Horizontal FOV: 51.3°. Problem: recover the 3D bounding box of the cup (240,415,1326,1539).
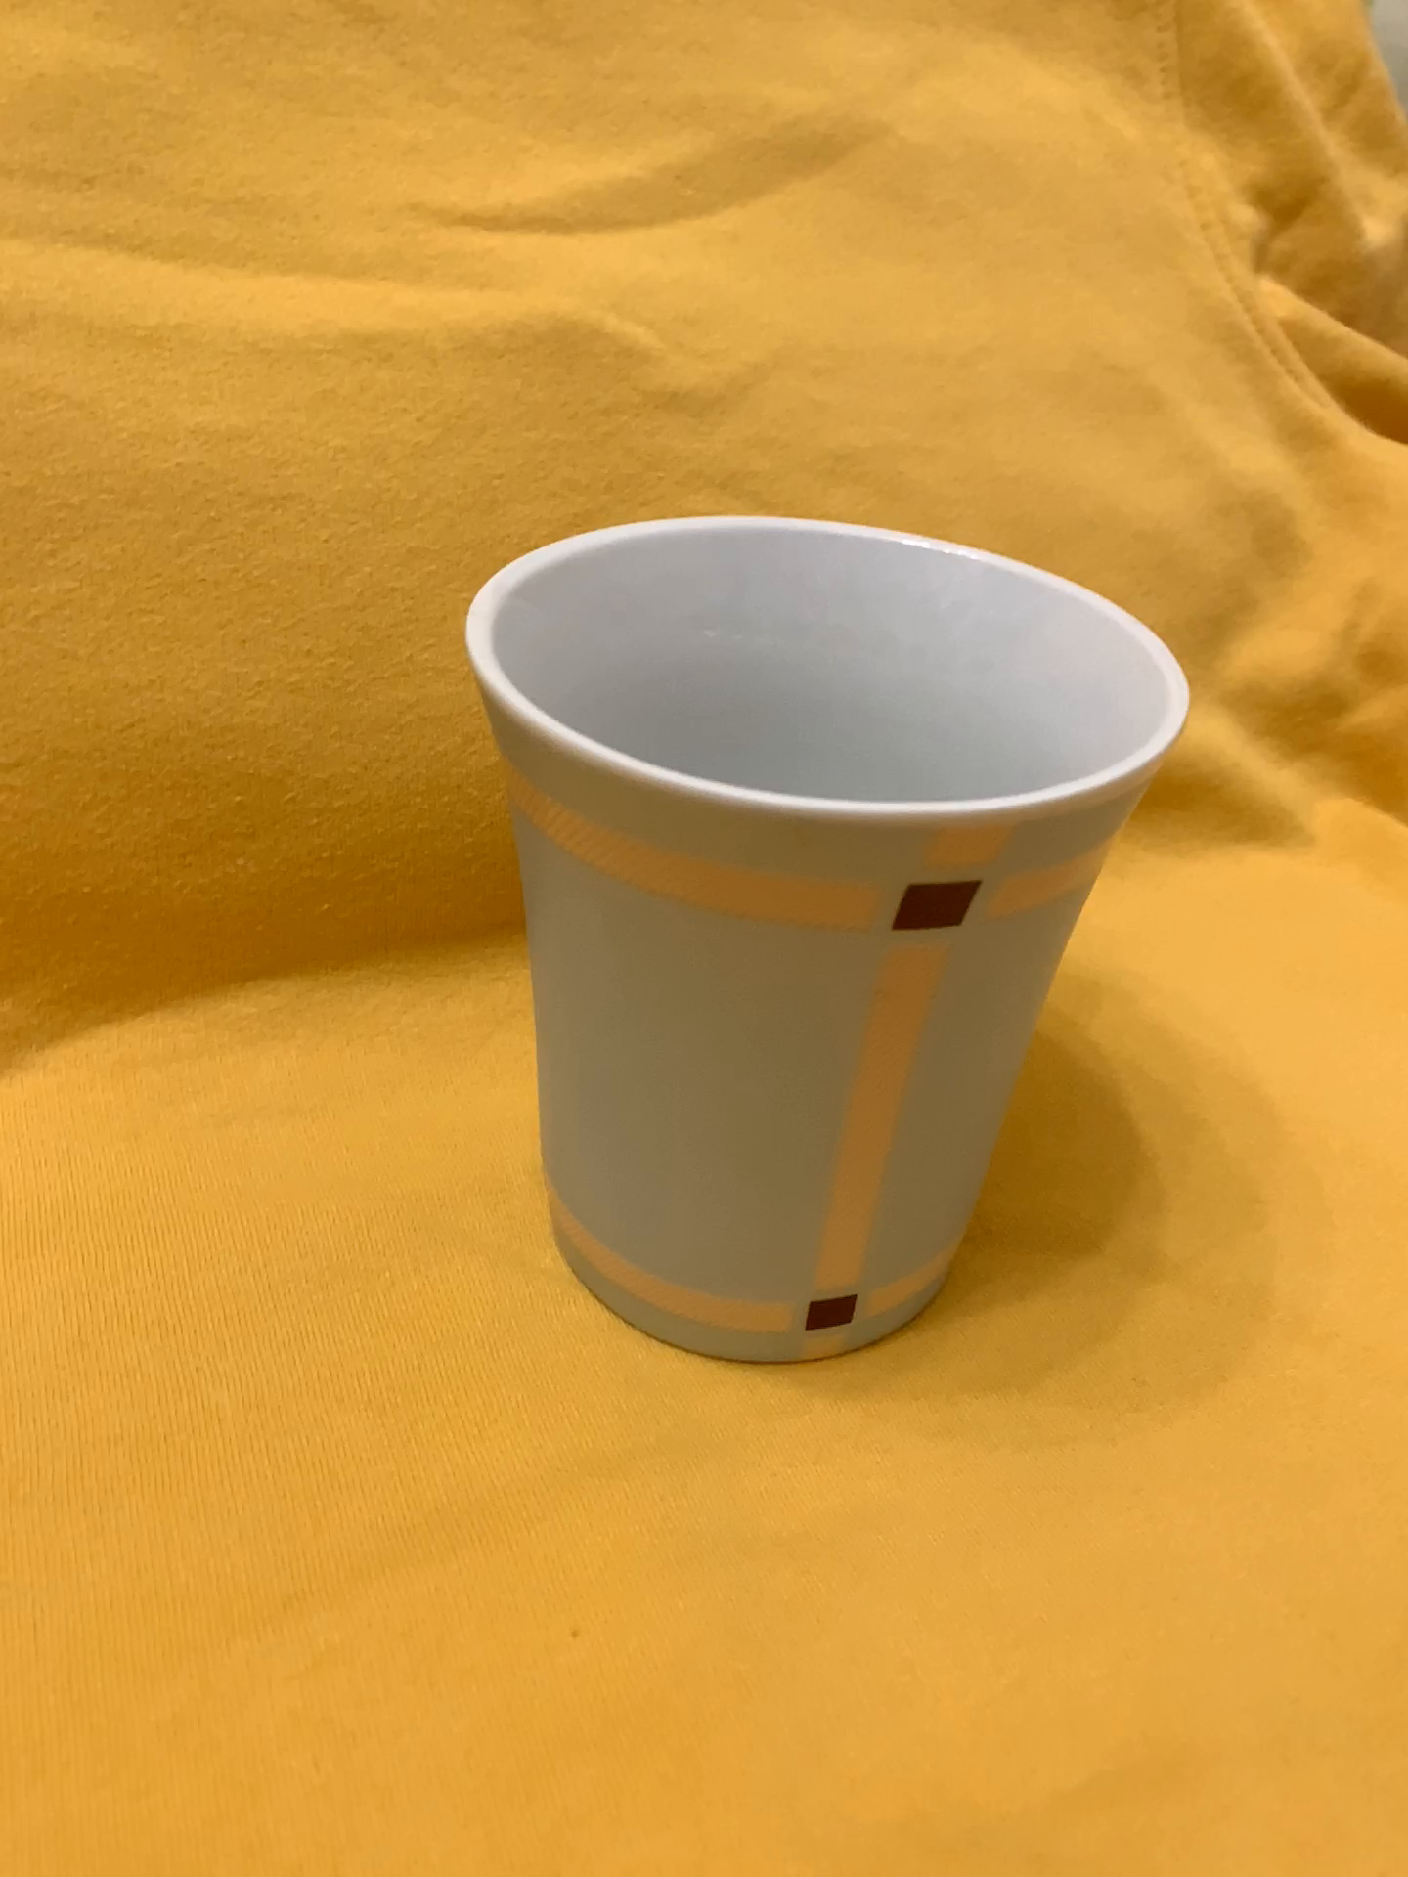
[{"bbox_3d":[0.012,-0.007,0.230,0.099,0.103,0.121,29,40,27],"label":"cup"}]
